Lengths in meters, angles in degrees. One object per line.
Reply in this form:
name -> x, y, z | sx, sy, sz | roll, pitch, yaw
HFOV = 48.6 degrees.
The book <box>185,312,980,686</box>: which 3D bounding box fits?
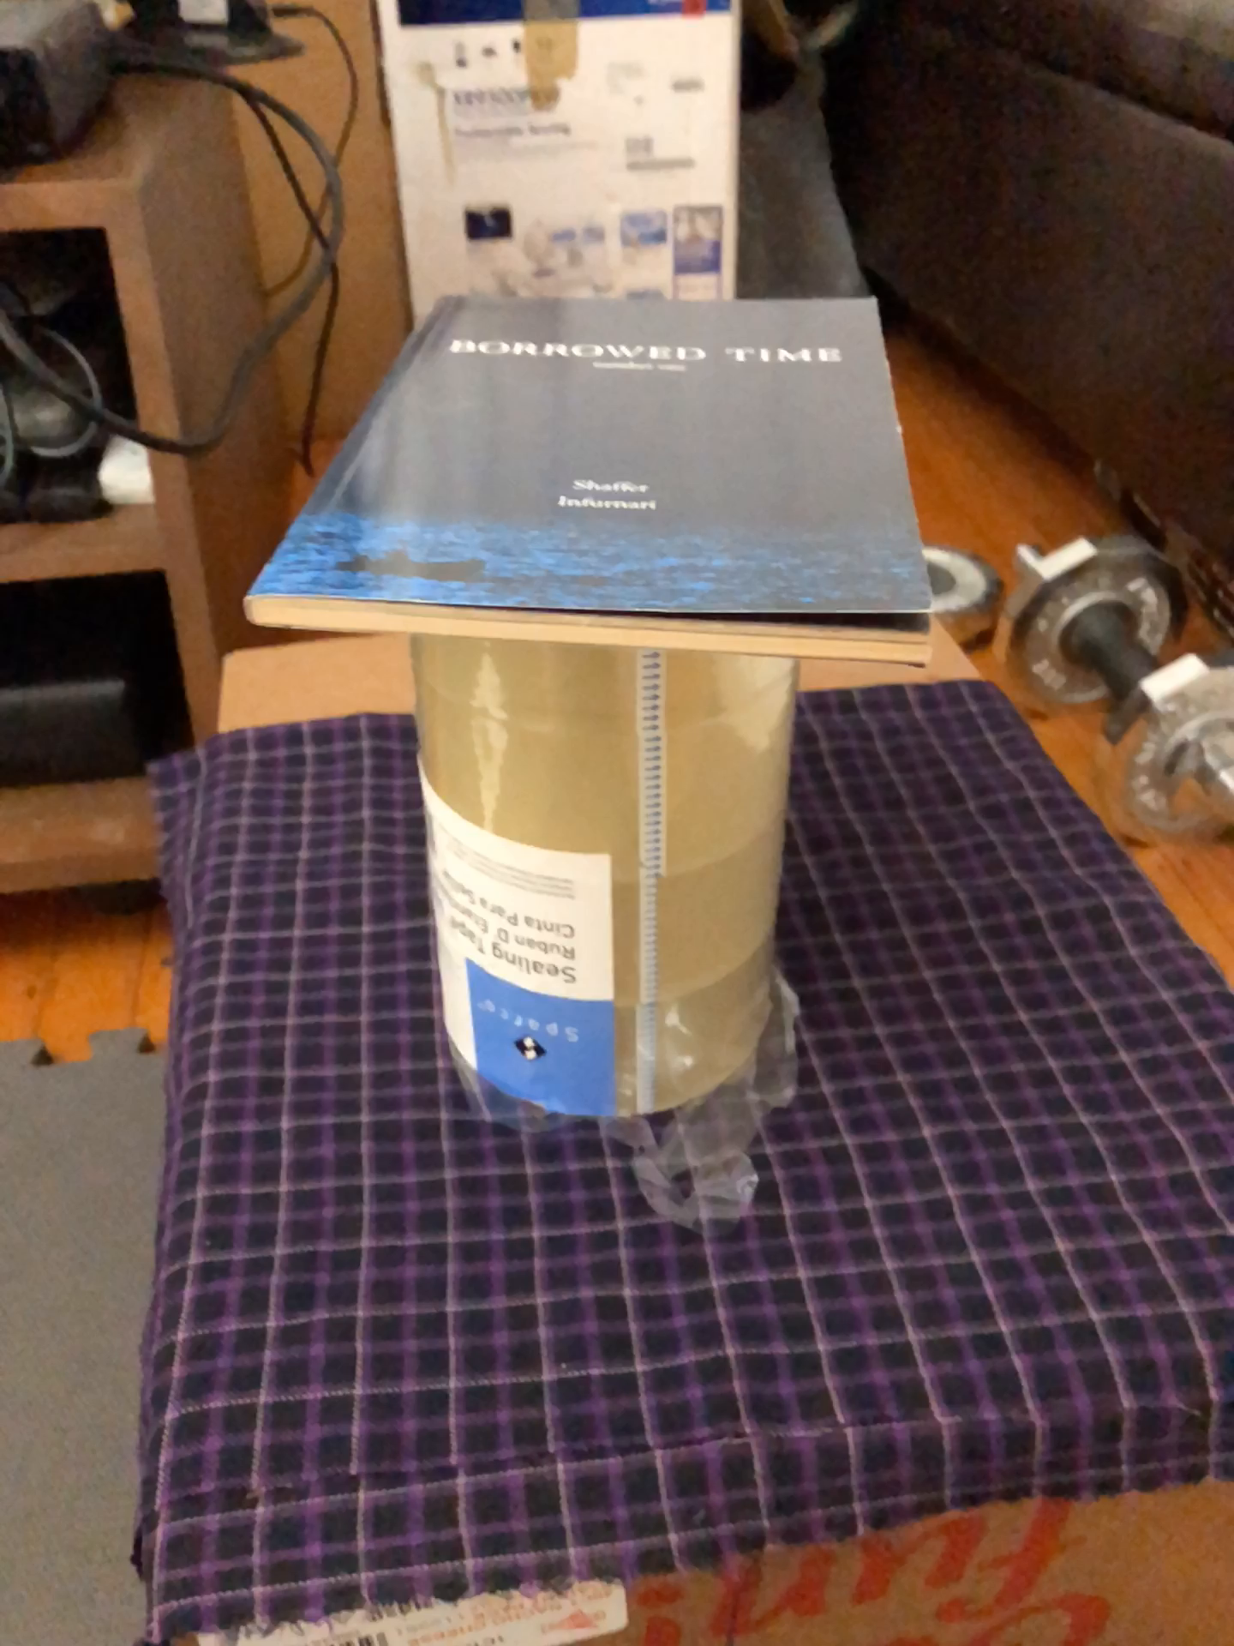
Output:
book -> 0.001, -0.101, 0.371 | 0.160, 0.010, 0.231 | 3, 35, 4
